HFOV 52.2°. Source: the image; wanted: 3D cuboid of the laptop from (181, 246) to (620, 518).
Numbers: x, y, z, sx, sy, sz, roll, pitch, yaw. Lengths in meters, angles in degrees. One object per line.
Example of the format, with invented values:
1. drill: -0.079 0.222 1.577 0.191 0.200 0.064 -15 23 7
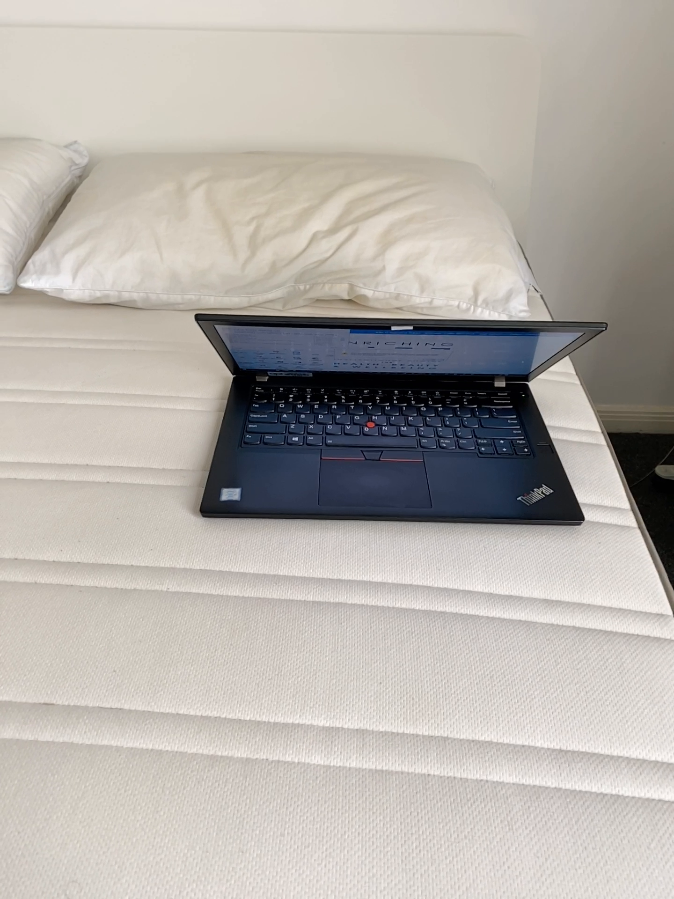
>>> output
1. laptop: 0.048 -0.070 0.638 0.324 0.150 0.221 1 37 -1
